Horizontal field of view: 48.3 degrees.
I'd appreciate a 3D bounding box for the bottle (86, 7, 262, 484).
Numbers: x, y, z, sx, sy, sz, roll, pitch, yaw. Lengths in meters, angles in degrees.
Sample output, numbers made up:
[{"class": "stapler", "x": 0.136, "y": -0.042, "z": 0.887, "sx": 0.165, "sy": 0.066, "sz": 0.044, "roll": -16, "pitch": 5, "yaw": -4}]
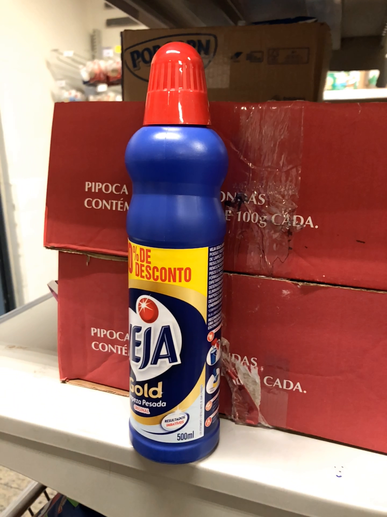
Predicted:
[{"class": "bottle", "x": -0.007, "y": -0.003, "z": 0.269, "sx": 0.070, "sy": 0.249, "sz": 0.070, "roll": -1, "pitch": 13, "yaw": 0}]
